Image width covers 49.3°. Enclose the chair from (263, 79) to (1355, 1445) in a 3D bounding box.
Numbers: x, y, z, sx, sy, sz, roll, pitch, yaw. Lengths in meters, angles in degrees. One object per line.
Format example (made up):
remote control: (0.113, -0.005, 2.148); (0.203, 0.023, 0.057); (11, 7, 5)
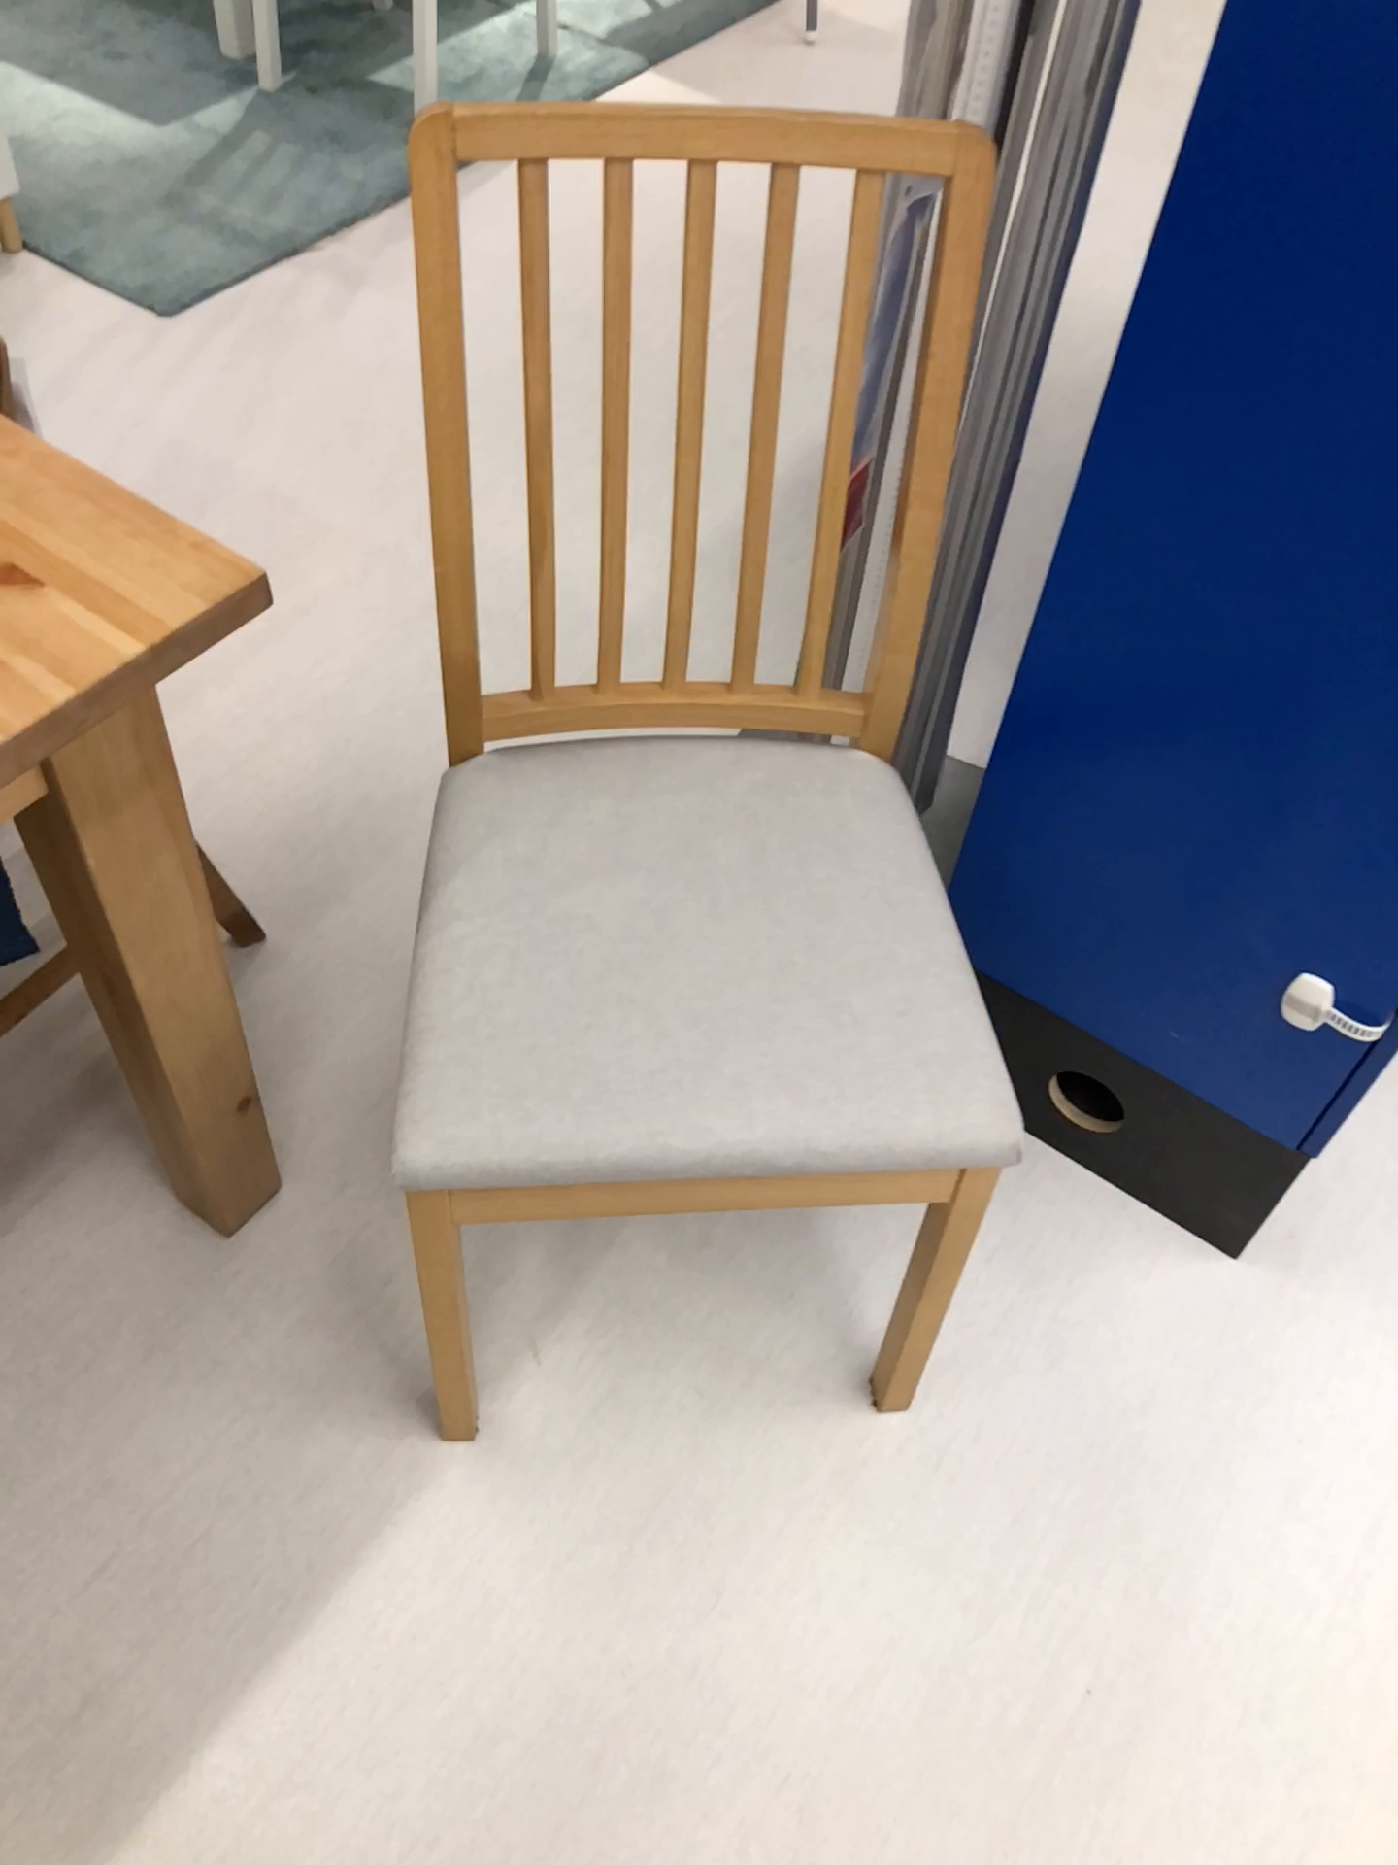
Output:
chair: (0.001, -0.049, 1.111); (0.450, 0.855, 0.513); (-1, 51, -6)
